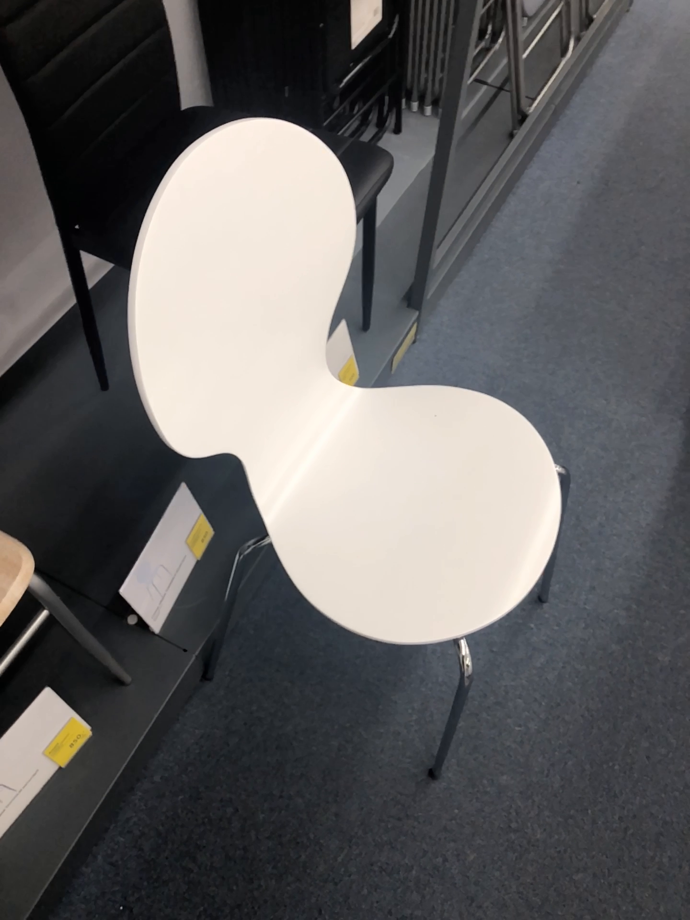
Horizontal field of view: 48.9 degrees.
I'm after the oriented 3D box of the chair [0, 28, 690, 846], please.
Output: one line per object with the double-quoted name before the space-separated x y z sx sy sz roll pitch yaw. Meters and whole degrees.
"chair" 0.057 0.057 1.062 0.540 0.898 0.561 29 59 15
